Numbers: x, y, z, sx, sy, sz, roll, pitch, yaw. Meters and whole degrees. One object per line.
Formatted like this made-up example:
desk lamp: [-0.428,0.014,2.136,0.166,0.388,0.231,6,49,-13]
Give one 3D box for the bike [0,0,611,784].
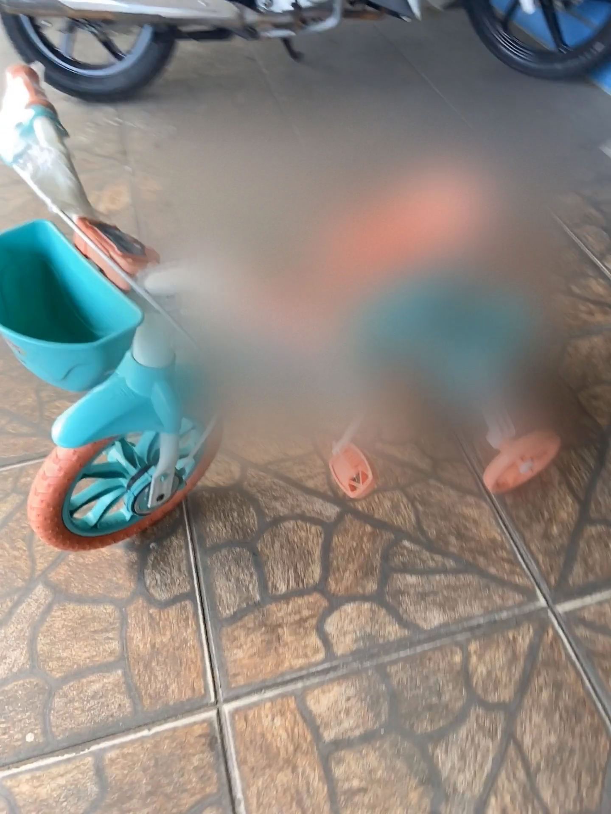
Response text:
bike: [0.040,-0.074,0.777,0.807,0.534,0.500,-23,52,-18]
